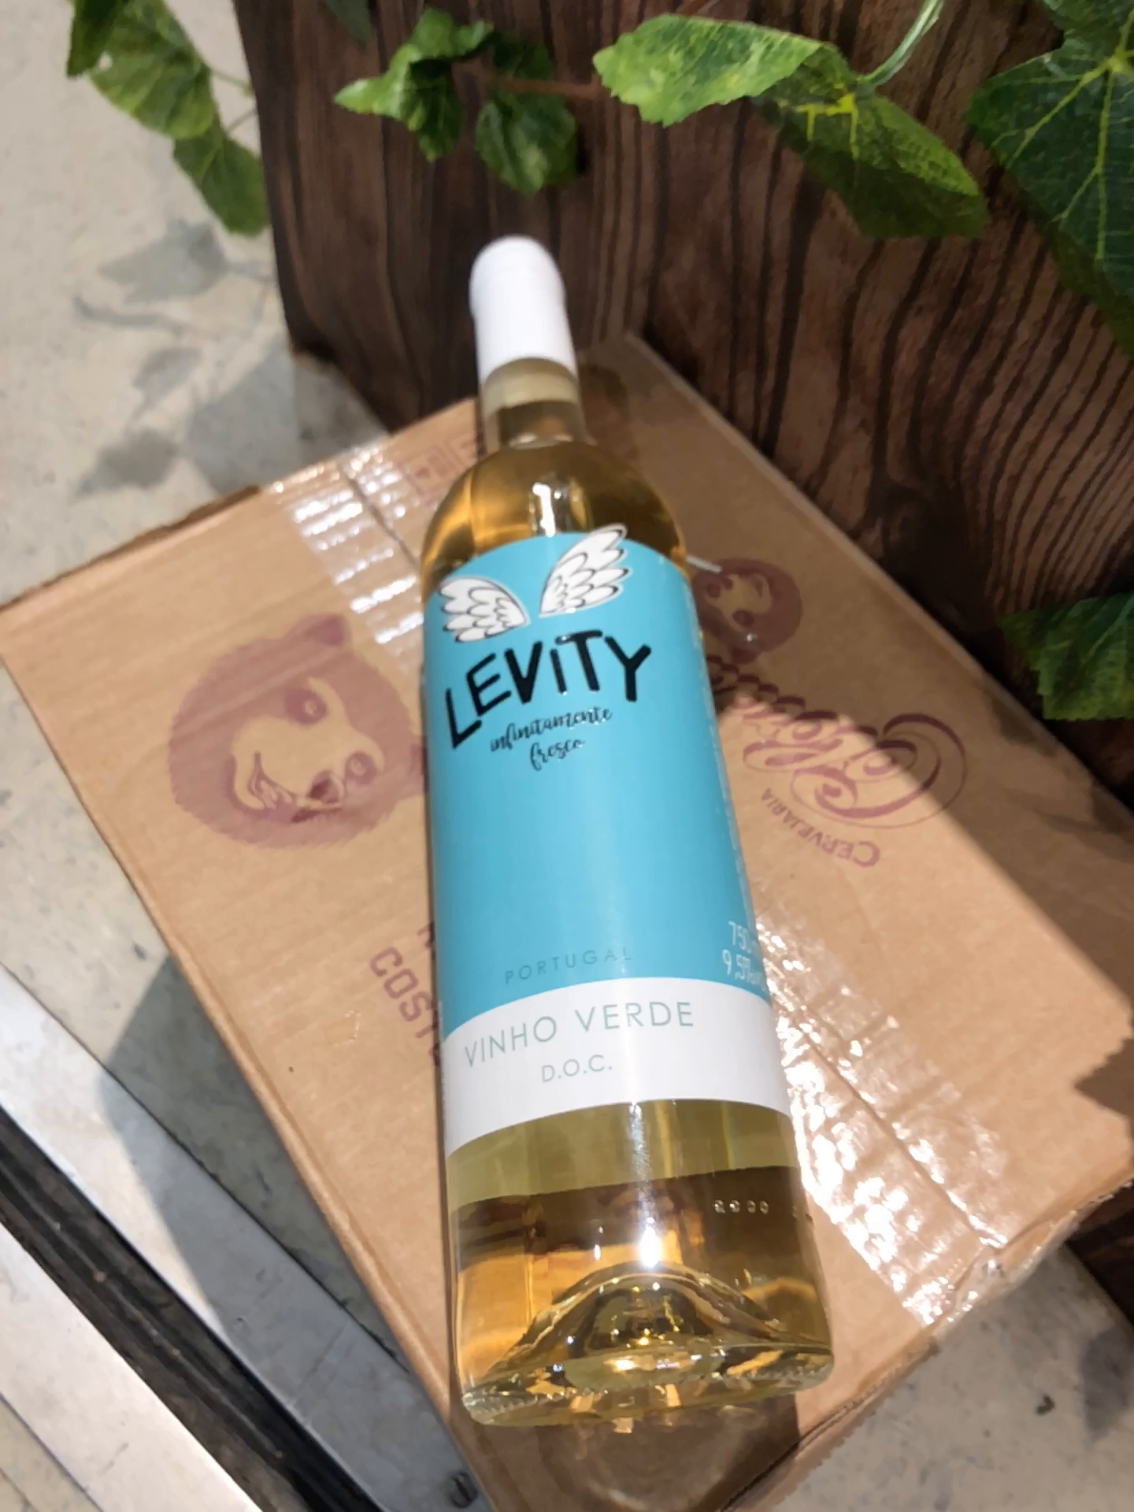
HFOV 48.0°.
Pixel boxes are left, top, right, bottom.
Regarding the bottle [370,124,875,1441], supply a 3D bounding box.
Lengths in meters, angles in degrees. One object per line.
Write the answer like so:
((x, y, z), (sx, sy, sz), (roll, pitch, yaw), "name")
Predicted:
((-0.004, -0.027, 0.317), (0.080, 0.050, 0.342), (-3, 60, -5), "bottle")
